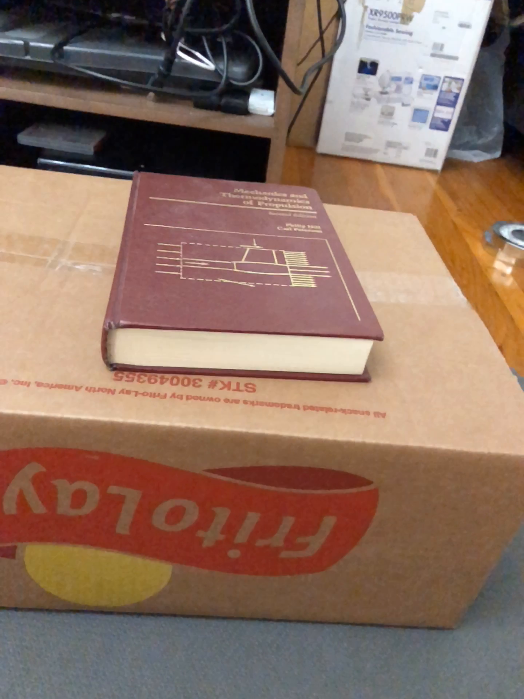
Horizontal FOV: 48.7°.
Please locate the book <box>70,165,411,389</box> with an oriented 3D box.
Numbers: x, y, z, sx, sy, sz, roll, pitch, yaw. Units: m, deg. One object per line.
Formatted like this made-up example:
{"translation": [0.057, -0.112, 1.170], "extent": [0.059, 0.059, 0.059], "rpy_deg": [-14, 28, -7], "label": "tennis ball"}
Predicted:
{"translation": [-0.020, -0.067, 0.430], "extent": [0.190, 0.040, 0.241], "rpy_deg": [3, 36, -8], "label": "book"}
